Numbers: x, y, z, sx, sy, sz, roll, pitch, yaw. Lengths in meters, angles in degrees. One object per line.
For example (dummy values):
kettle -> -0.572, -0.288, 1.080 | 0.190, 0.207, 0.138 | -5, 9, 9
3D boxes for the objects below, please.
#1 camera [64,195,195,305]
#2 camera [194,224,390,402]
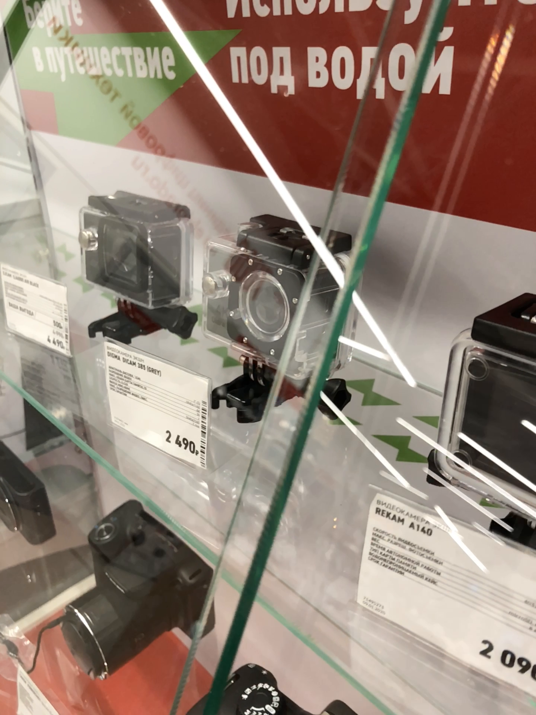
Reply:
camera -> -0.080, -0.064, 0.343 | 0.072, 0.046, 0.036 | 22, 27, 37
camera -> 0.008, -0.025, 0.282 | 0.048, 0.055, 0.077 | -21, 33, -40
